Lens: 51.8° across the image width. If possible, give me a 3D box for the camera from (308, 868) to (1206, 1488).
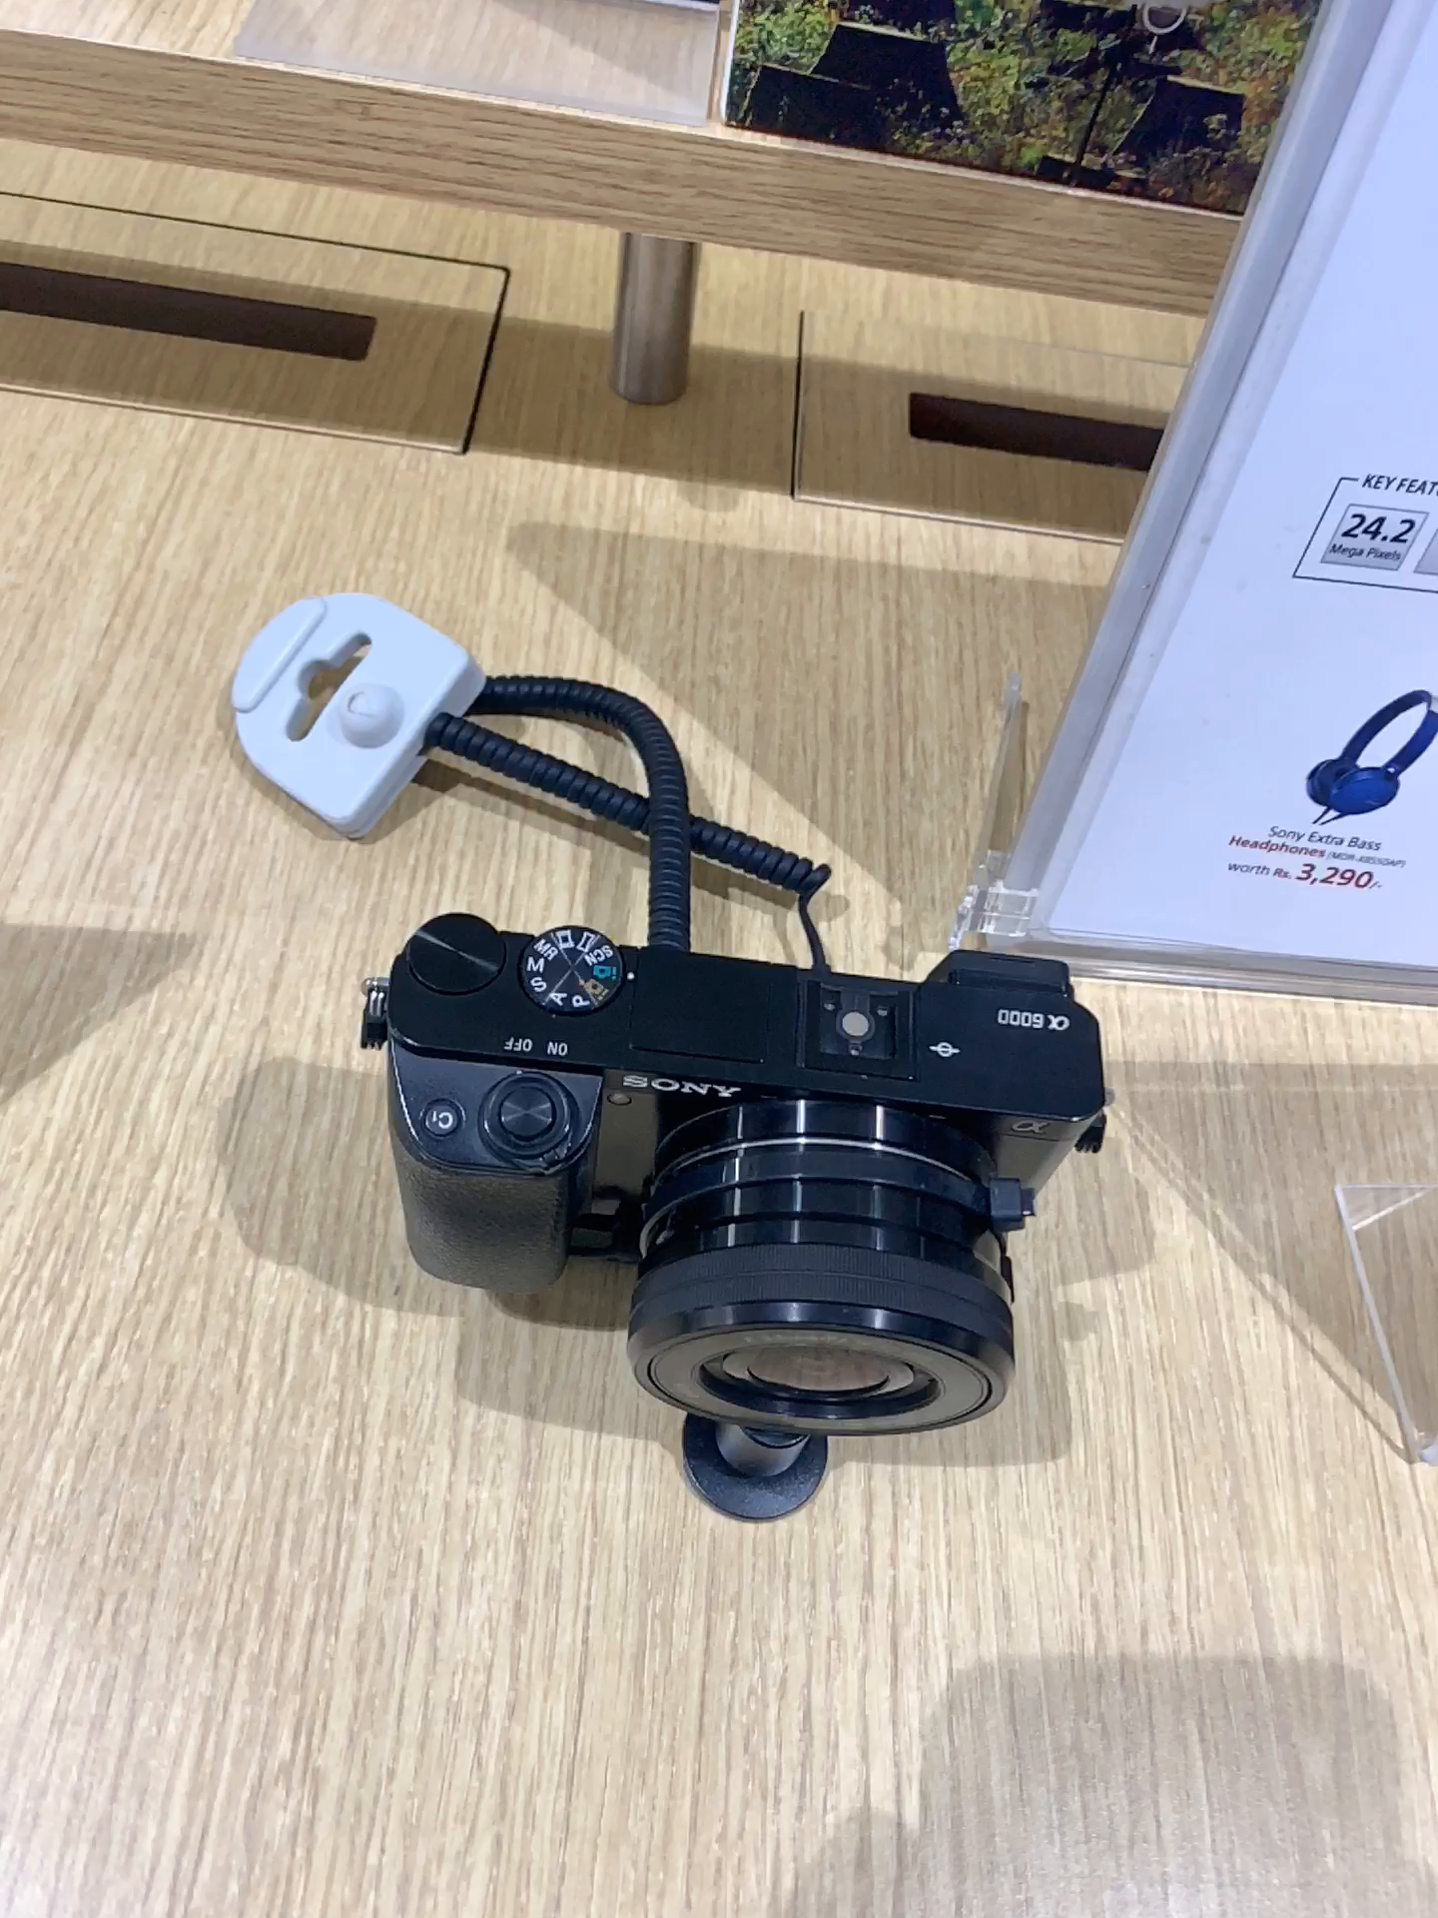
[{"bbox_3d":[0.003,0.045,0.269,0.130,0.090,0.070,5,57,-5],"label":"camera"}]
